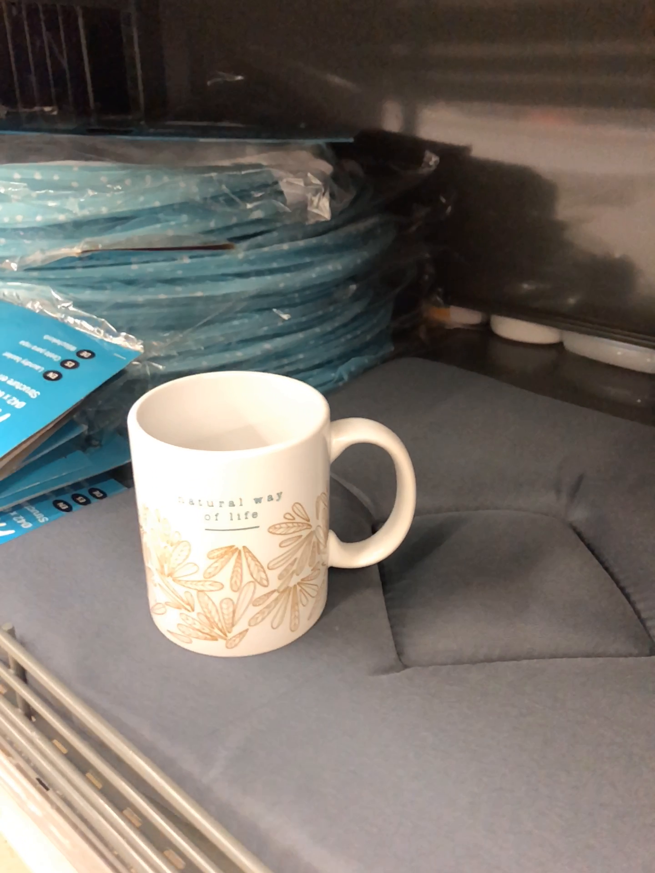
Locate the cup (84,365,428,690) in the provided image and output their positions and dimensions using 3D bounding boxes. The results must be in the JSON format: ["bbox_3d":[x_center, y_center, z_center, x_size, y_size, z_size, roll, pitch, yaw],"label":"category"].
[{"bbox_3d":[-0.029,0.034,0.315,0.120,0.099,0.090,-3,26,-7],"label":"cup"}]
